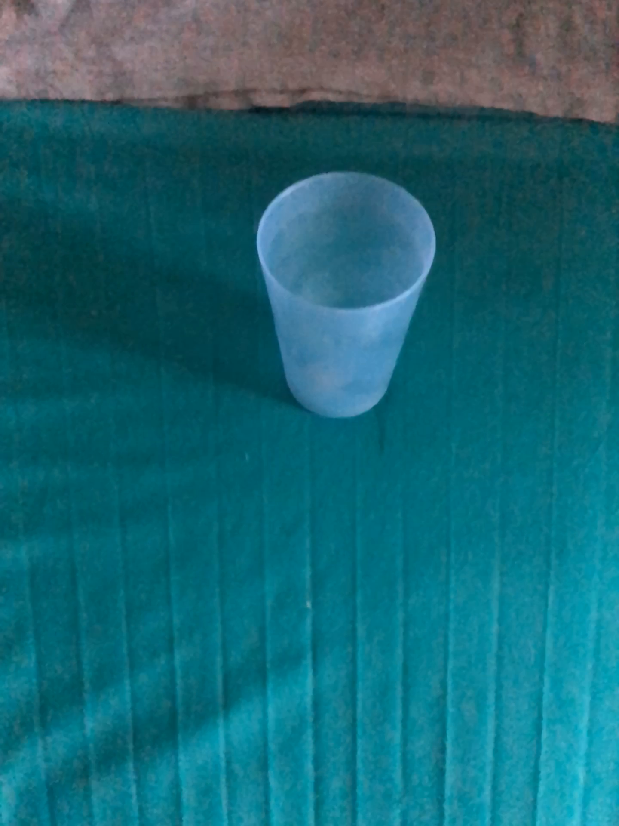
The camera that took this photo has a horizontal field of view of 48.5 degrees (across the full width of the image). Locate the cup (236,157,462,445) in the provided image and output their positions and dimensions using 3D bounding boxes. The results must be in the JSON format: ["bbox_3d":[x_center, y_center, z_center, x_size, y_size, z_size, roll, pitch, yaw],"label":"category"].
[{"bbox_3d":[0.016,-0.042,0.309,0.078,0.119,0.066,6,66,2],"label":"cup"}]
